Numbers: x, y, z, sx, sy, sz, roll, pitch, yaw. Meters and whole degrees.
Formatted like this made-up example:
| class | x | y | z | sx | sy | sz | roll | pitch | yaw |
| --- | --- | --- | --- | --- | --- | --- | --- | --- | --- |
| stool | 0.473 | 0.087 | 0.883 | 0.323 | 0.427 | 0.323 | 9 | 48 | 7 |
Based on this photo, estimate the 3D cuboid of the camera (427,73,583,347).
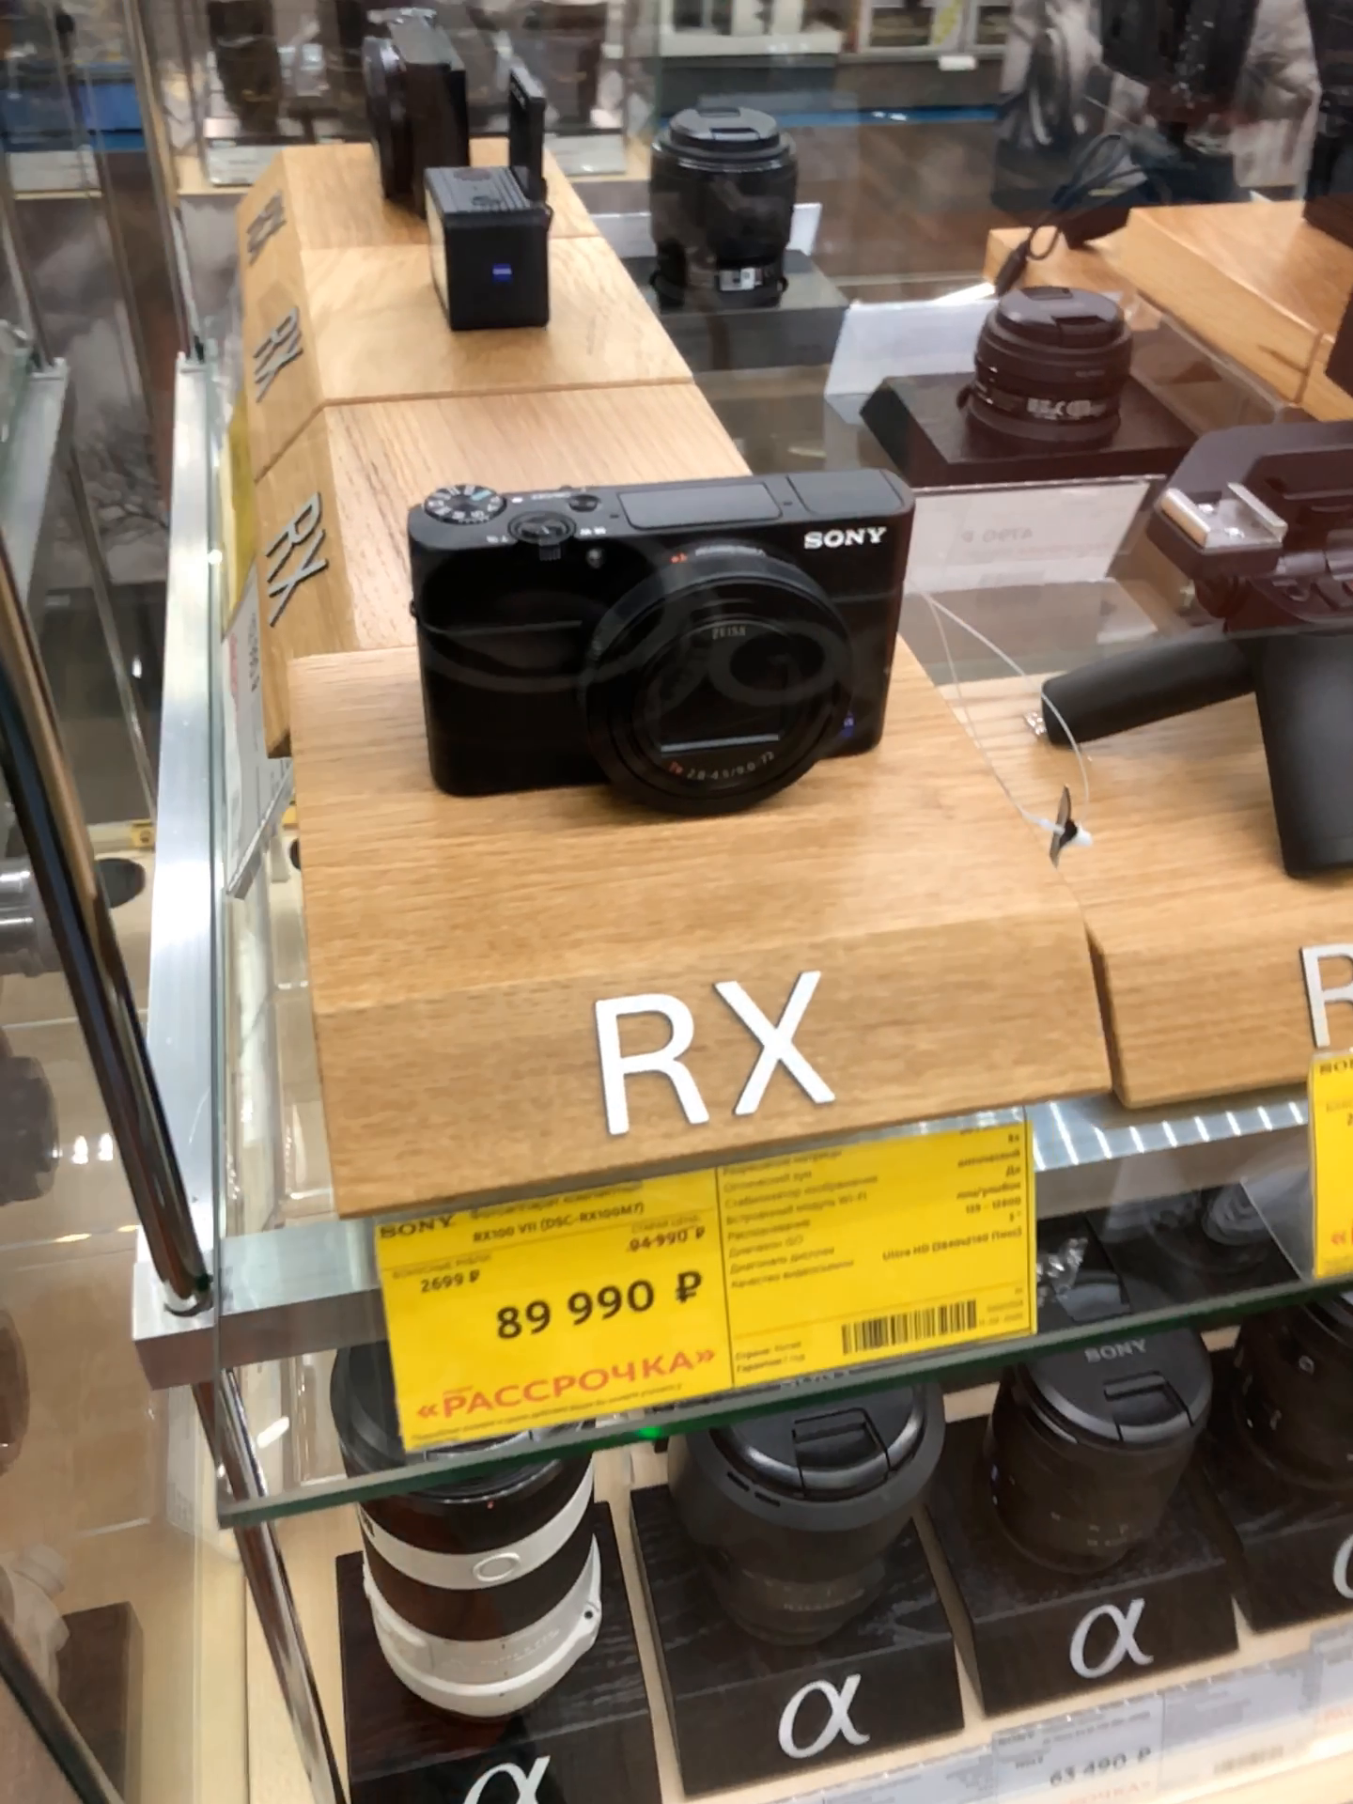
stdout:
| class | x | y | z | sx | sy | sz | roll | pitch | yaw |
| --- | --- | --- | --- | --- | --- | --- | --- | --- | --- |
| camera | -0.056 | -0.230 | 0.495 | 0.040 | 0.070 | 0.052 | -9 | 41 | -12 |

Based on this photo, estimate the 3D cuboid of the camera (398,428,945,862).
| class | x | y | z | sx | sy | sz | roll | pitch | yaw |
| --- | --- | --- | --- | --- | --- | --- | --- | --- | --- |
| camera | -0.003 | -0.054 | 0.313 | 0.100 | 0.070 | 0.040 | -8 | 41 | -11 |
